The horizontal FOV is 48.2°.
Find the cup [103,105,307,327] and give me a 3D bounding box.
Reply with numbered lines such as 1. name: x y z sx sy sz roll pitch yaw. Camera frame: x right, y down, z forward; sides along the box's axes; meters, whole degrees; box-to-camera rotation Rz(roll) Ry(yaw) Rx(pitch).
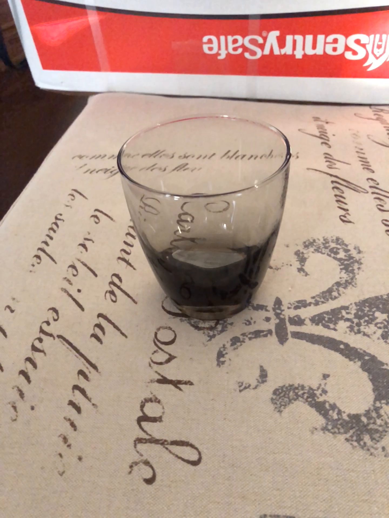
1. cup: 0.009 -0.025 0.251 0.088 0.092 0.088 -2 41 2
